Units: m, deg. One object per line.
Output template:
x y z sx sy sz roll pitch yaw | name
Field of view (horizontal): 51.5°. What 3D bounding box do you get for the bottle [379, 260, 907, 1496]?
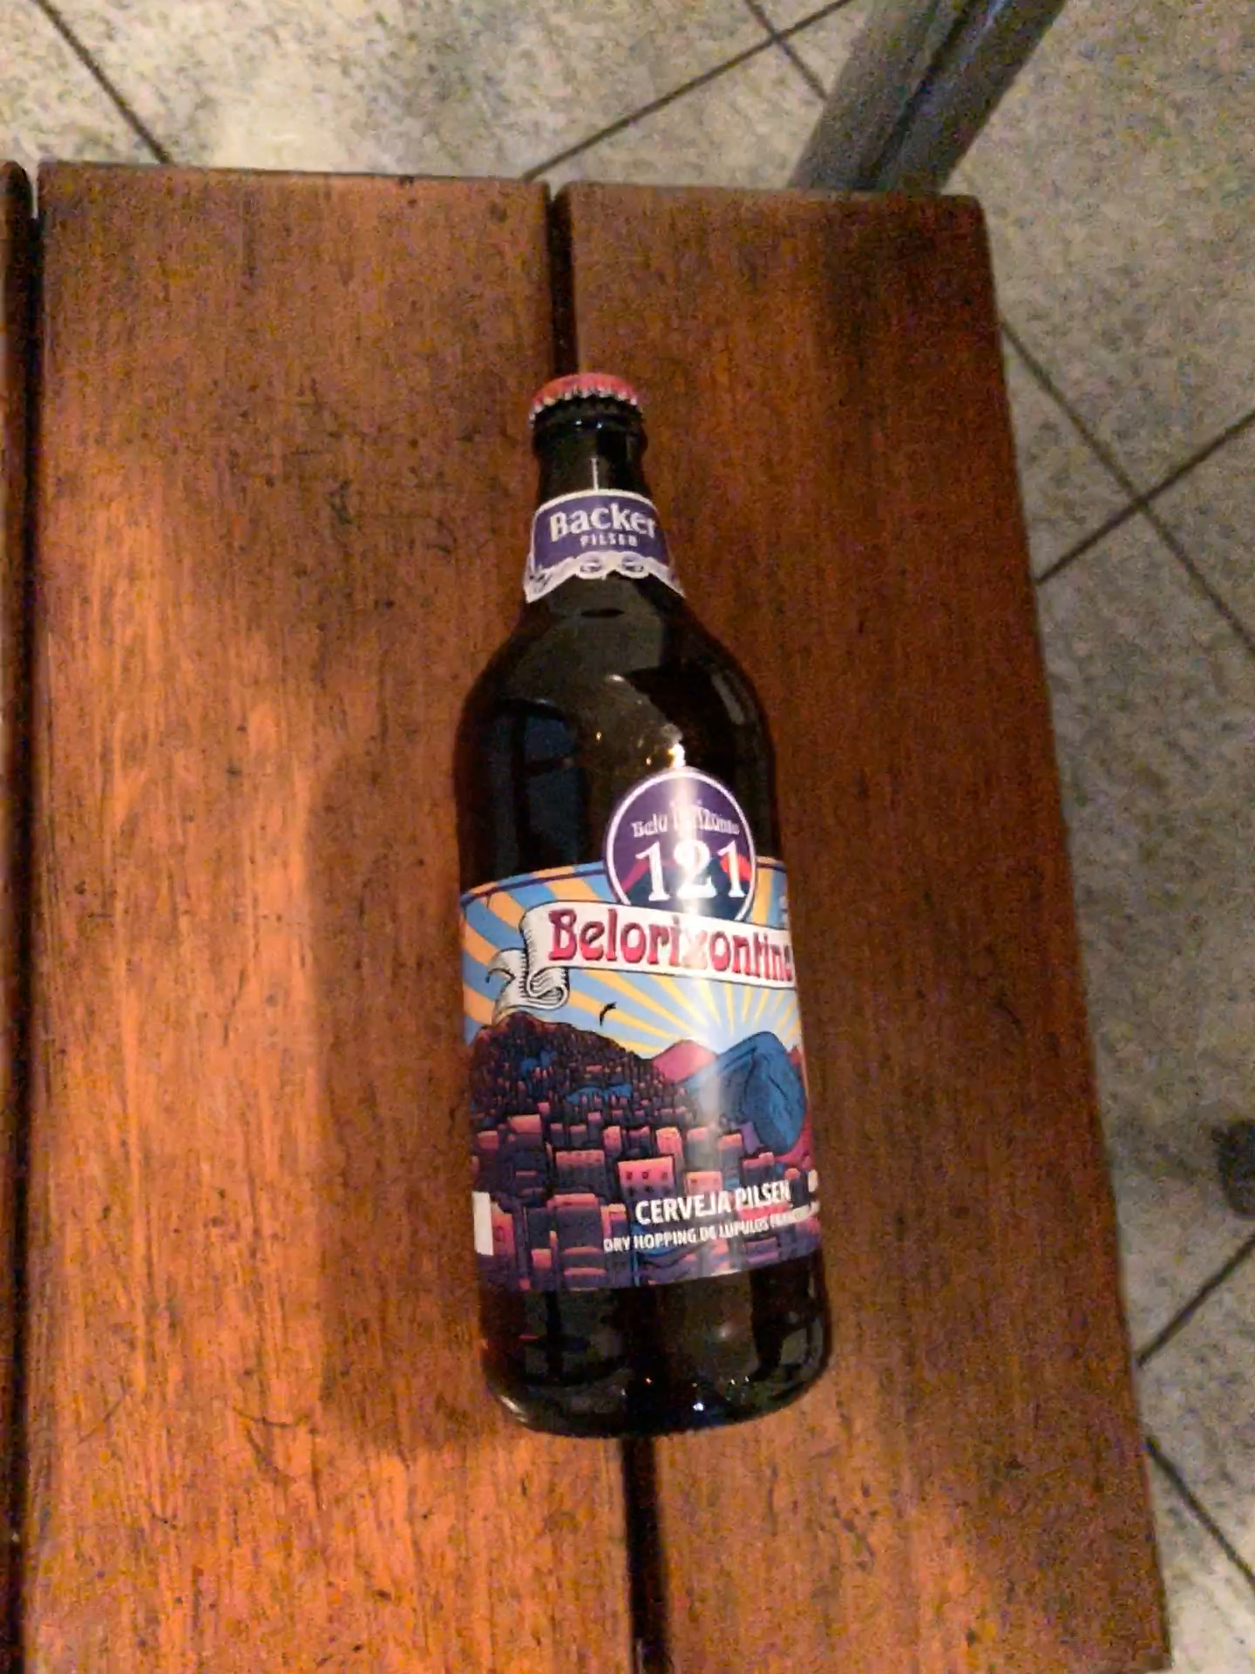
-0.003 0.002 0.286 0.080 0.050 0.240 -2 80 -20 | bottle
